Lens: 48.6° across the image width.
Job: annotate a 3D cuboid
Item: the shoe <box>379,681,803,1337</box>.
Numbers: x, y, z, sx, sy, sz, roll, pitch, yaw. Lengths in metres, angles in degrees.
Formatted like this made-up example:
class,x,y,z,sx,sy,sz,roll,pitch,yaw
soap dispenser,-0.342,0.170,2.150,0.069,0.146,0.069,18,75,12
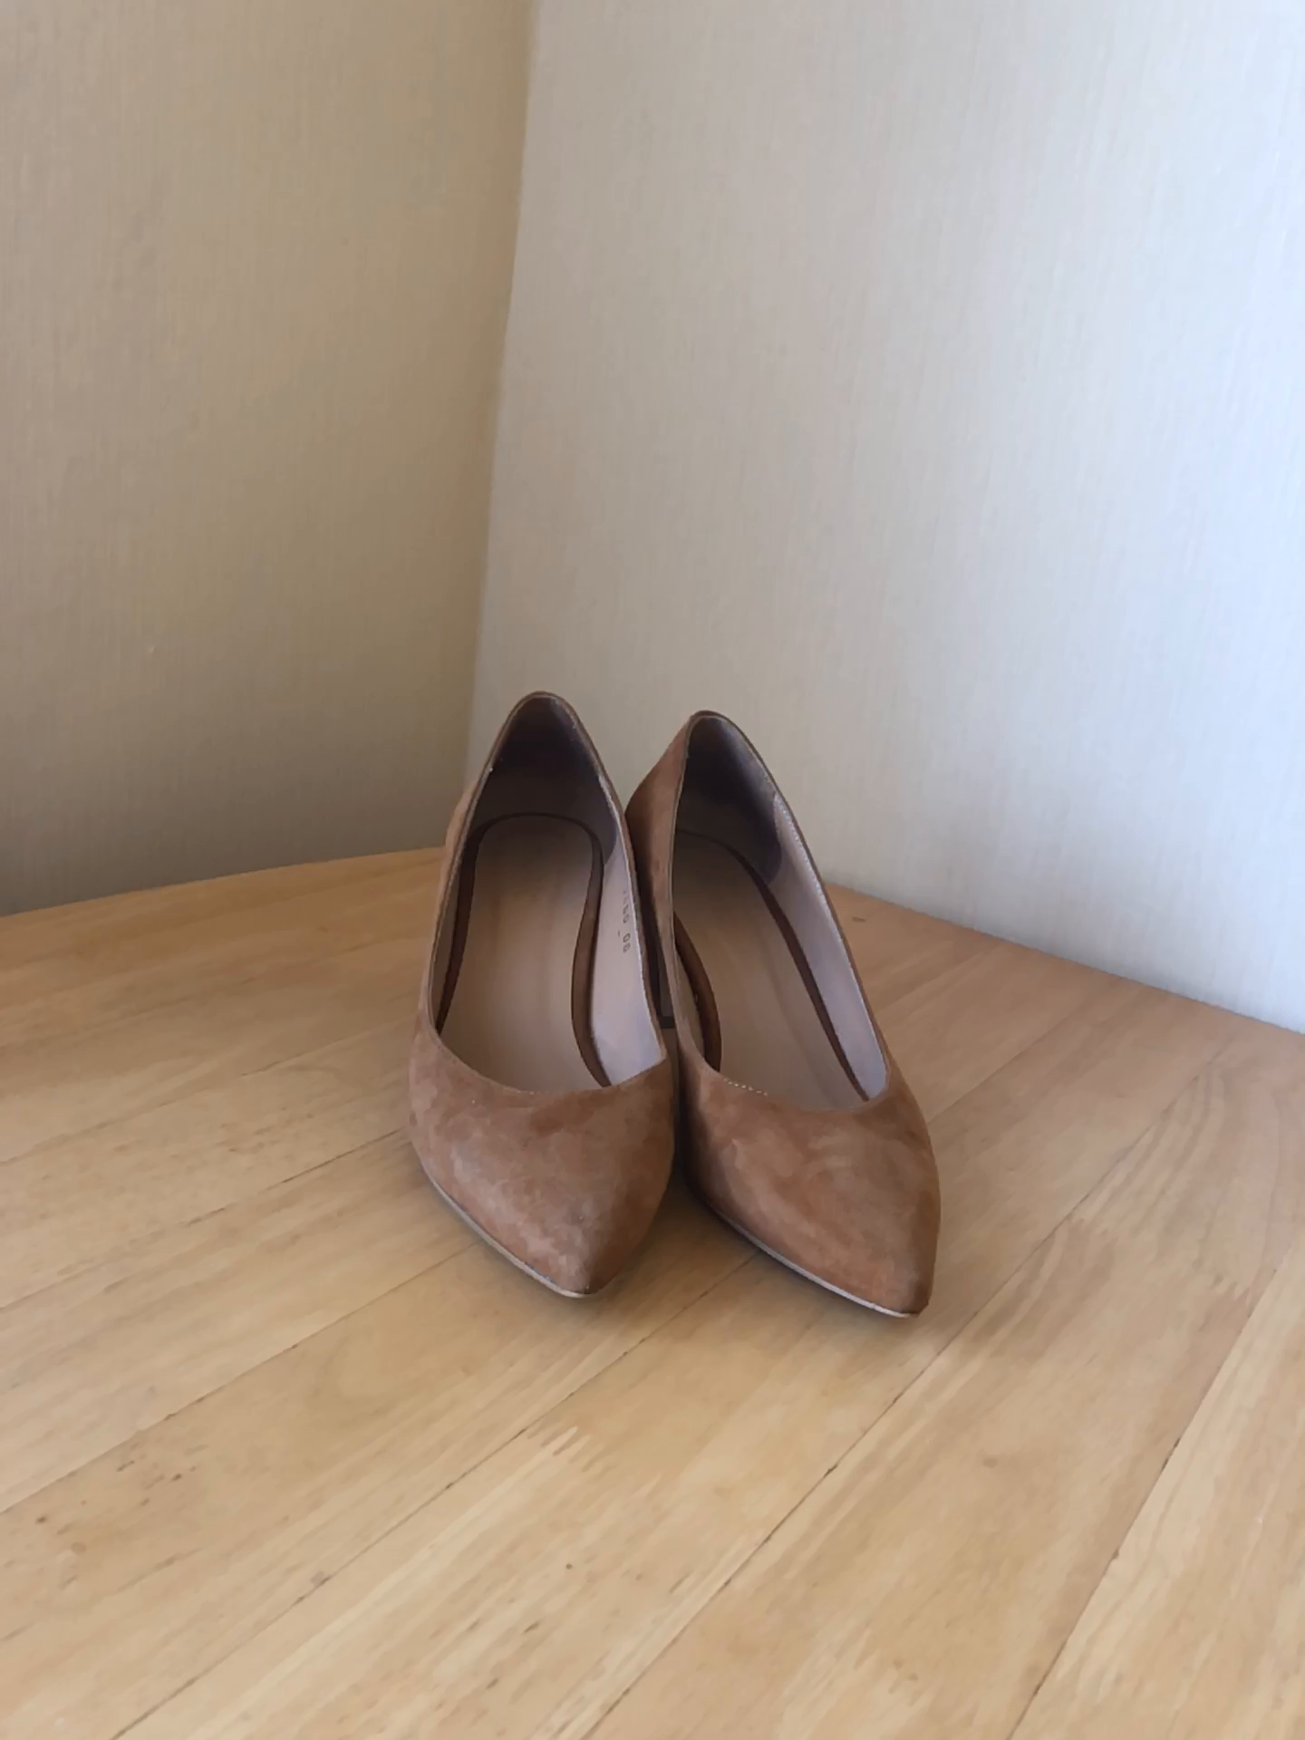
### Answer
class,x,y,z,sx,sy,sz,roll,pitch,yaw
shoe,-0.033,0.023,0.460,0.089,0.110,0.251,4,18,-10

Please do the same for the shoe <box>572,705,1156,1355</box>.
class,x,y,z,sx,sy,sz,roll,pitch,yaw
shoe,0.045,0.031,0.481,0.089,0.110,0.261,3,18,-15
